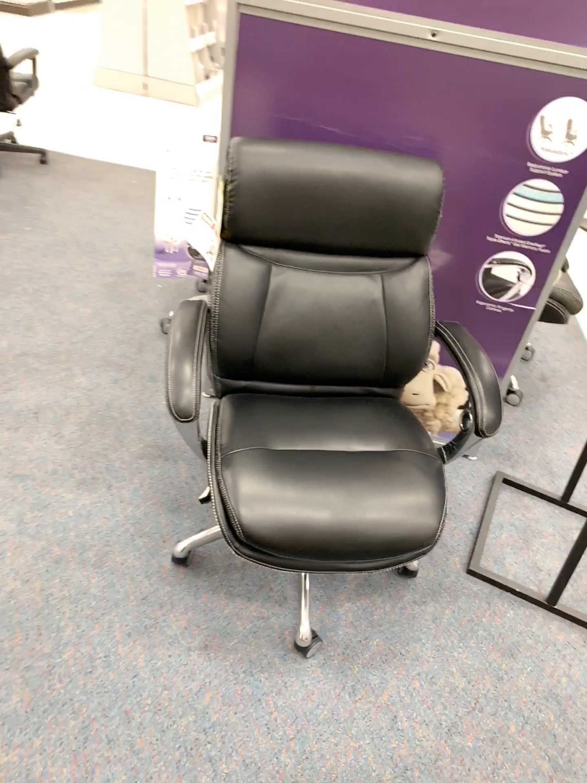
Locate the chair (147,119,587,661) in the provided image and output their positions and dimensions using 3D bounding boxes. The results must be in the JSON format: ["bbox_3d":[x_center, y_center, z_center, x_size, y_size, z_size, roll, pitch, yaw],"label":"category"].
[{"bbox_3d":[0.081,0.011,1.409,0.738,0.946,0.785,4,38,-8],"label":"chair"}]
